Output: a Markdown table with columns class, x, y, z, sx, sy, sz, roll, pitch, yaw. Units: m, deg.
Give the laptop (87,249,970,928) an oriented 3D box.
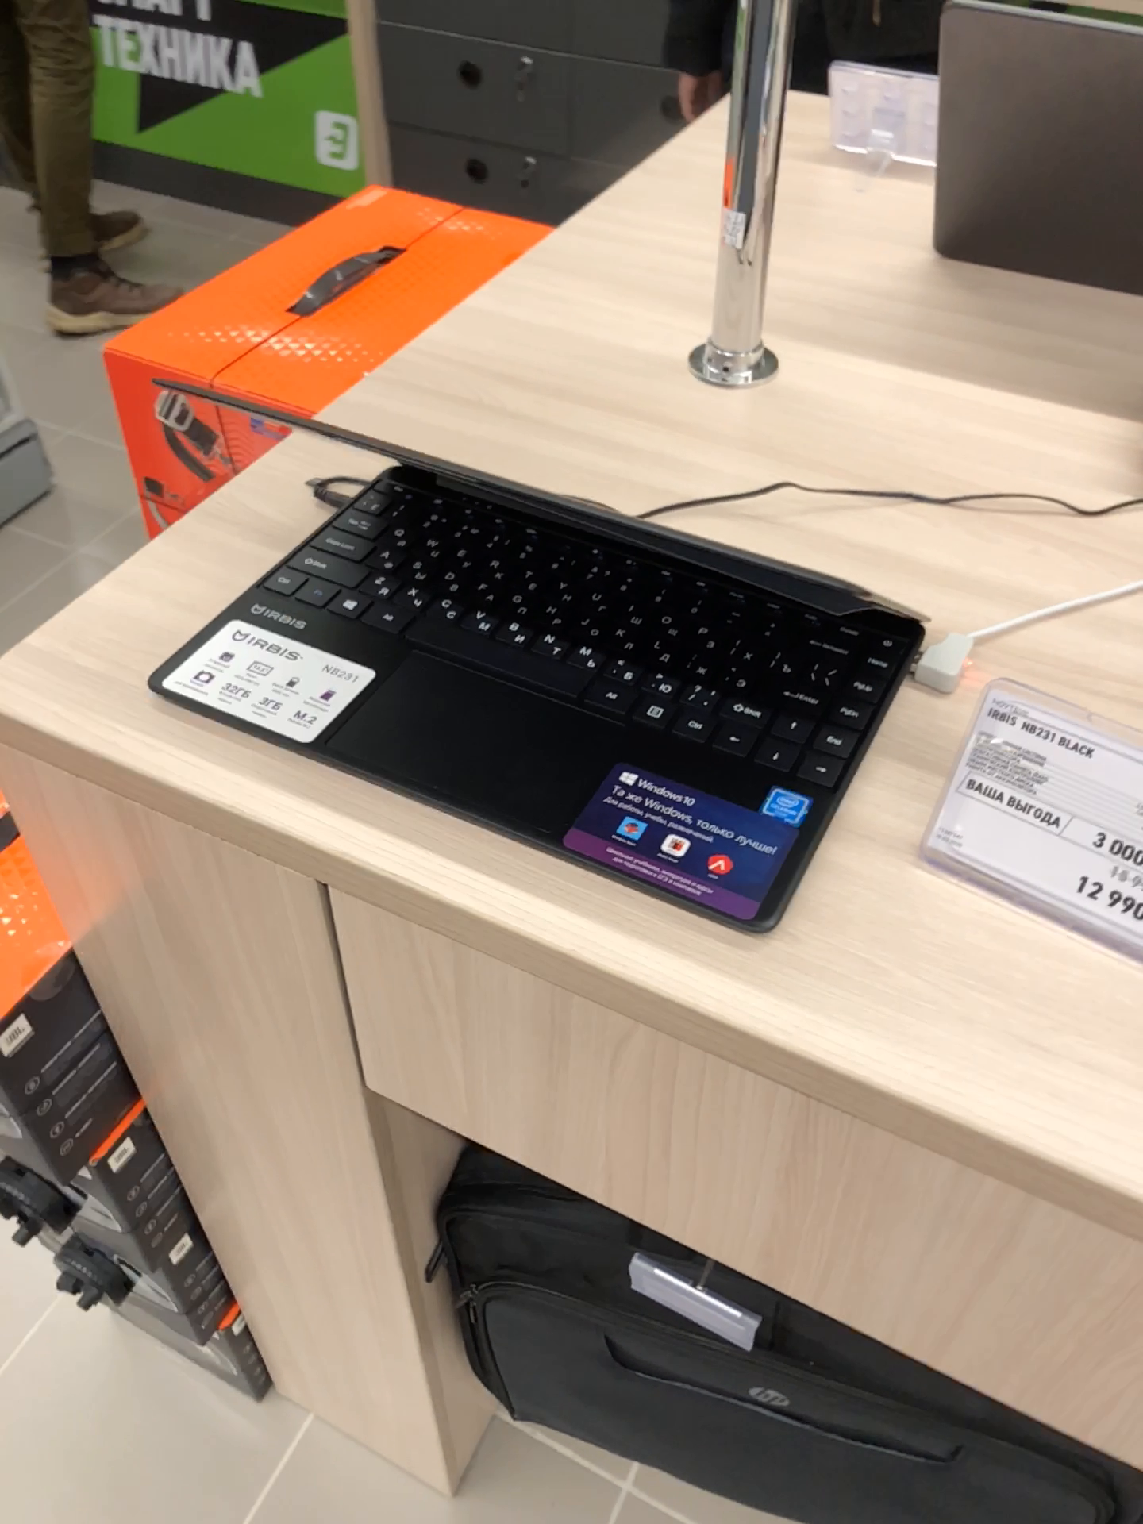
| class | x | y | z | sx | sy | sz | roll | pitch | yaw |
| --- | --- | --- | --- | --- | --- | --- | --- | --- | --- |
| laptop | -0.013 | -0.096 | 0.560 | 0.299 | 0.132 | 0.204 | 21 | 48 | 20 |
